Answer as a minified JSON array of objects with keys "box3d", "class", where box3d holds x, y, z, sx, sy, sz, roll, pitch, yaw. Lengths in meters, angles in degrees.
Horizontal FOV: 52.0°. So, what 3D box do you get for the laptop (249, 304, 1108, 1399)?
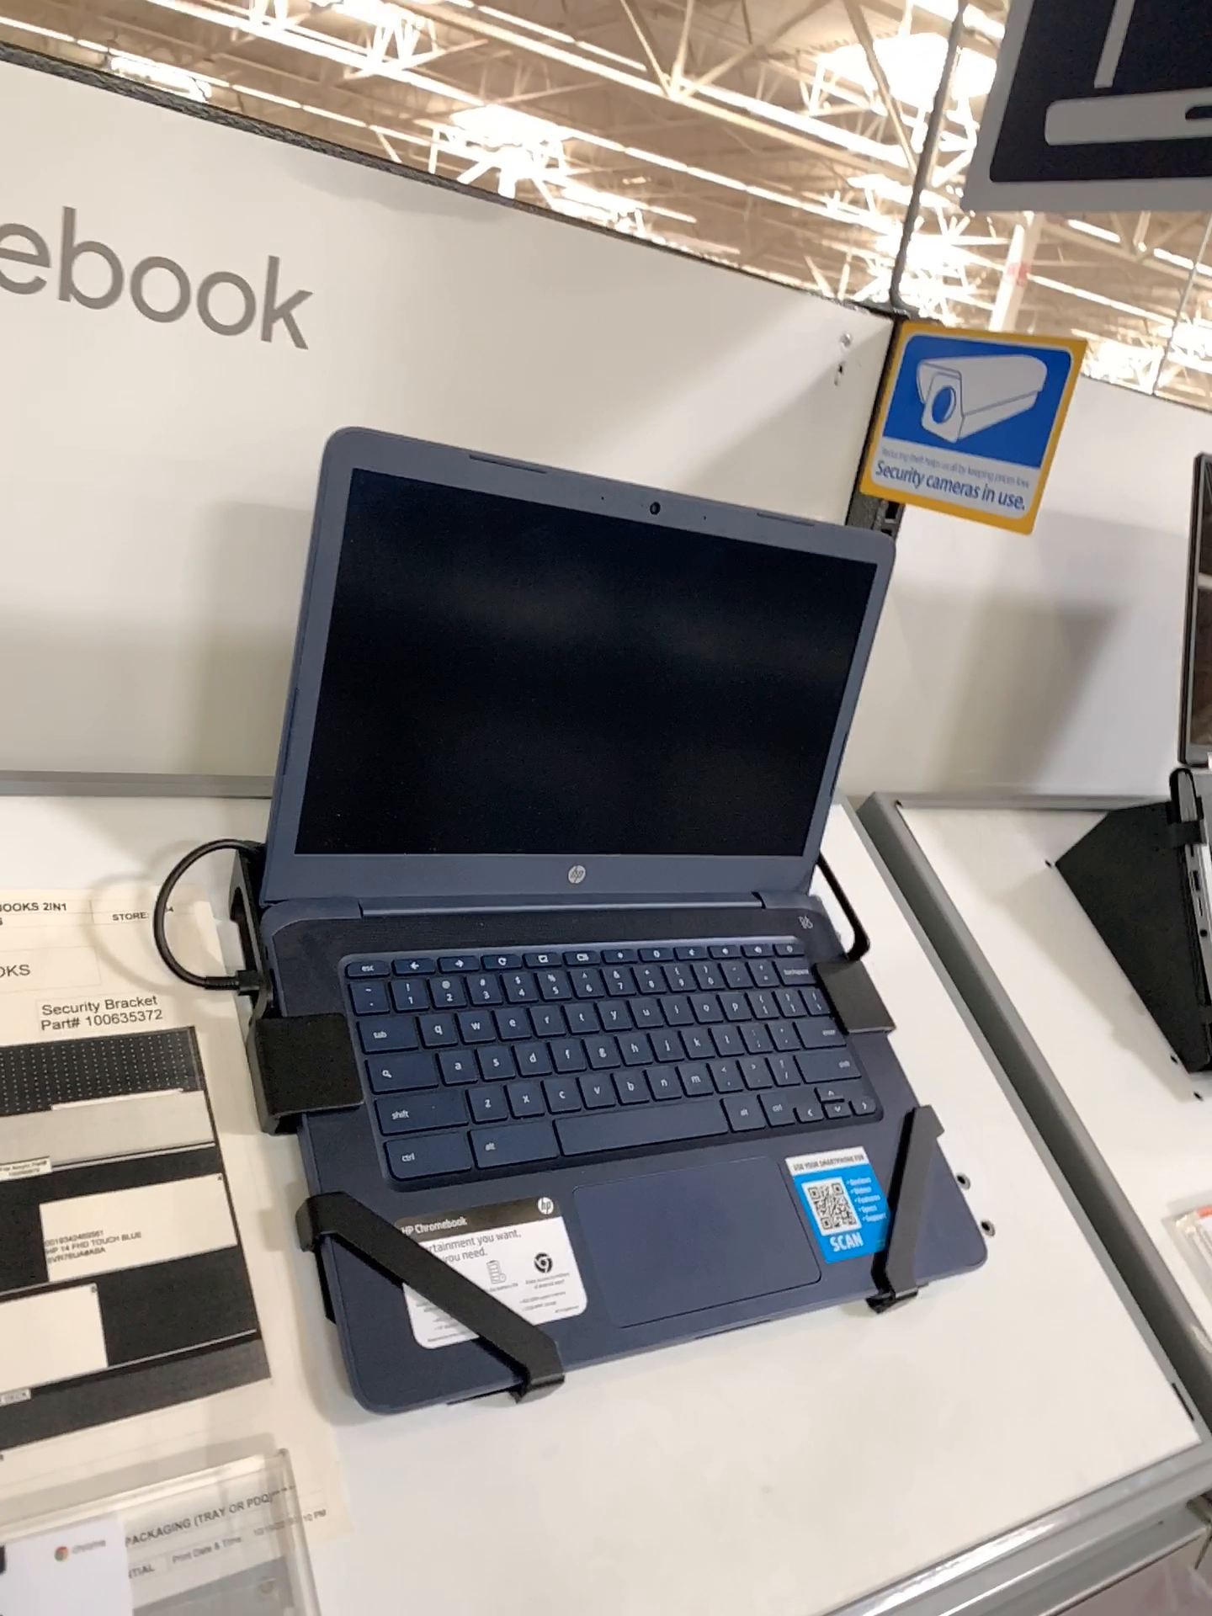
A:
[{"box3d":[0.022,-0.007,0.594,0.317,0.189,0.324,1,42,-32],"class":"laptop"}]
